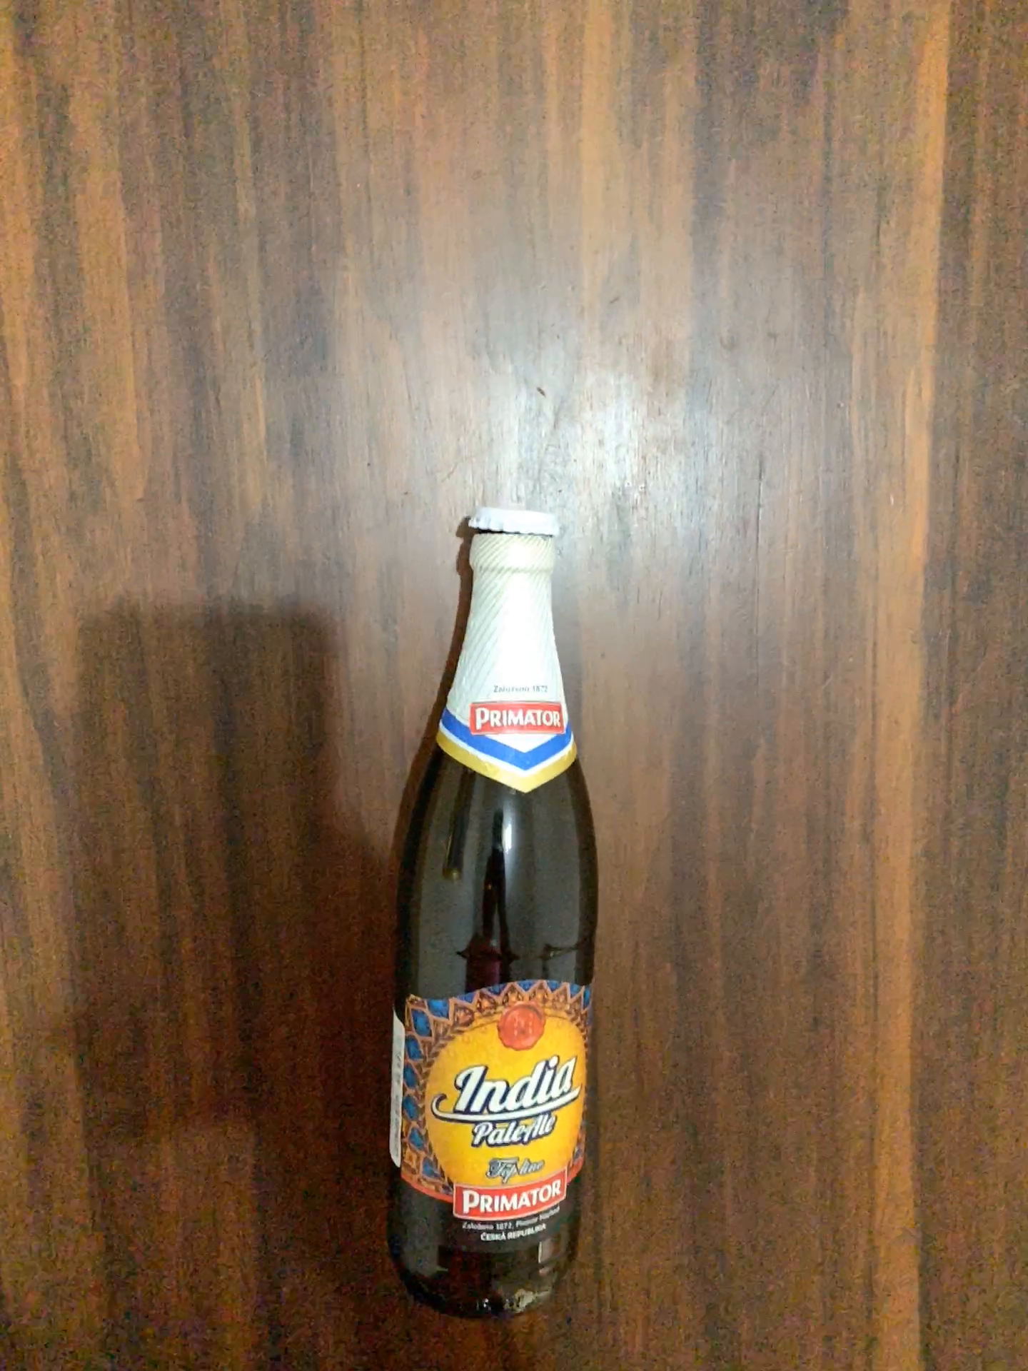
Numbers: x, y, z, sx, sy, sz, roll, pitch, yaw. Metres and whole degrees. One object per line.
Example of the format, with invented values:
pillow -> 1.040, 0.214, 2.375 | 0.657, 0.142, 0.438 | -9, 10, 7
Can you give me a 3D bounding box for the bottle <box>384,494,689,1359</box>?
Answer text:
bottle -> 0.002, 0.072, 0.344 | 0.080, 0.060, 0.260 | 0, 98, -14
